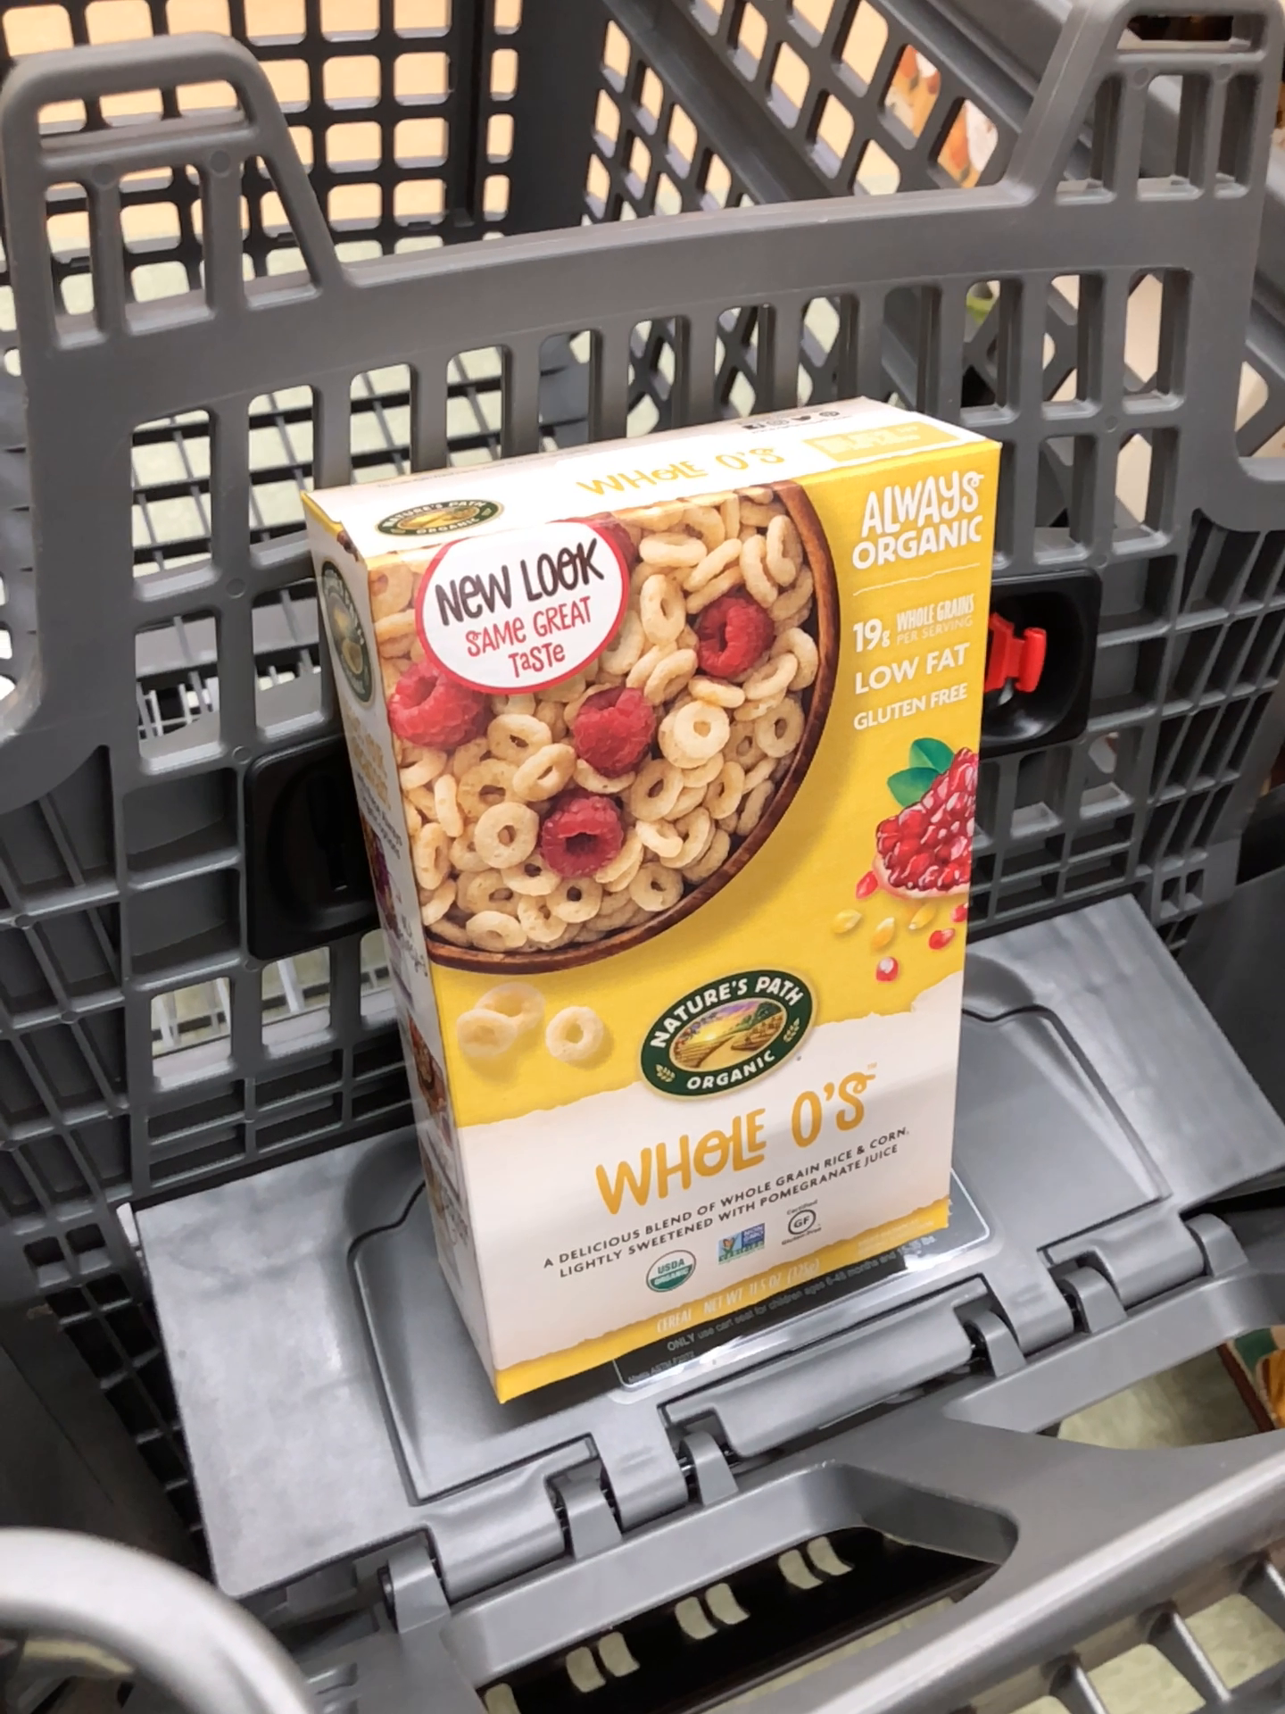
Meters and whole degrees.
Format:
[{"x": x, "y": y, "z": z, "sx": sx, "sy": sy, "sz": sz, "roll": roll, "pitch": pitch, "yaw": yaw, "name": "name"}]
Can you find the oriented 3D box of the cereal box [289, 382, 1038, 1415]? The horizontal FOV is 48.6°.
[{"x": 0.013, "y": 0.017, "z": 0.387, "sx": 0.160, "sy": 0.250, "sz": 0.060, "roll": -15, "pitch": 33, "yaw": -18, "name": "cereal box"}]
